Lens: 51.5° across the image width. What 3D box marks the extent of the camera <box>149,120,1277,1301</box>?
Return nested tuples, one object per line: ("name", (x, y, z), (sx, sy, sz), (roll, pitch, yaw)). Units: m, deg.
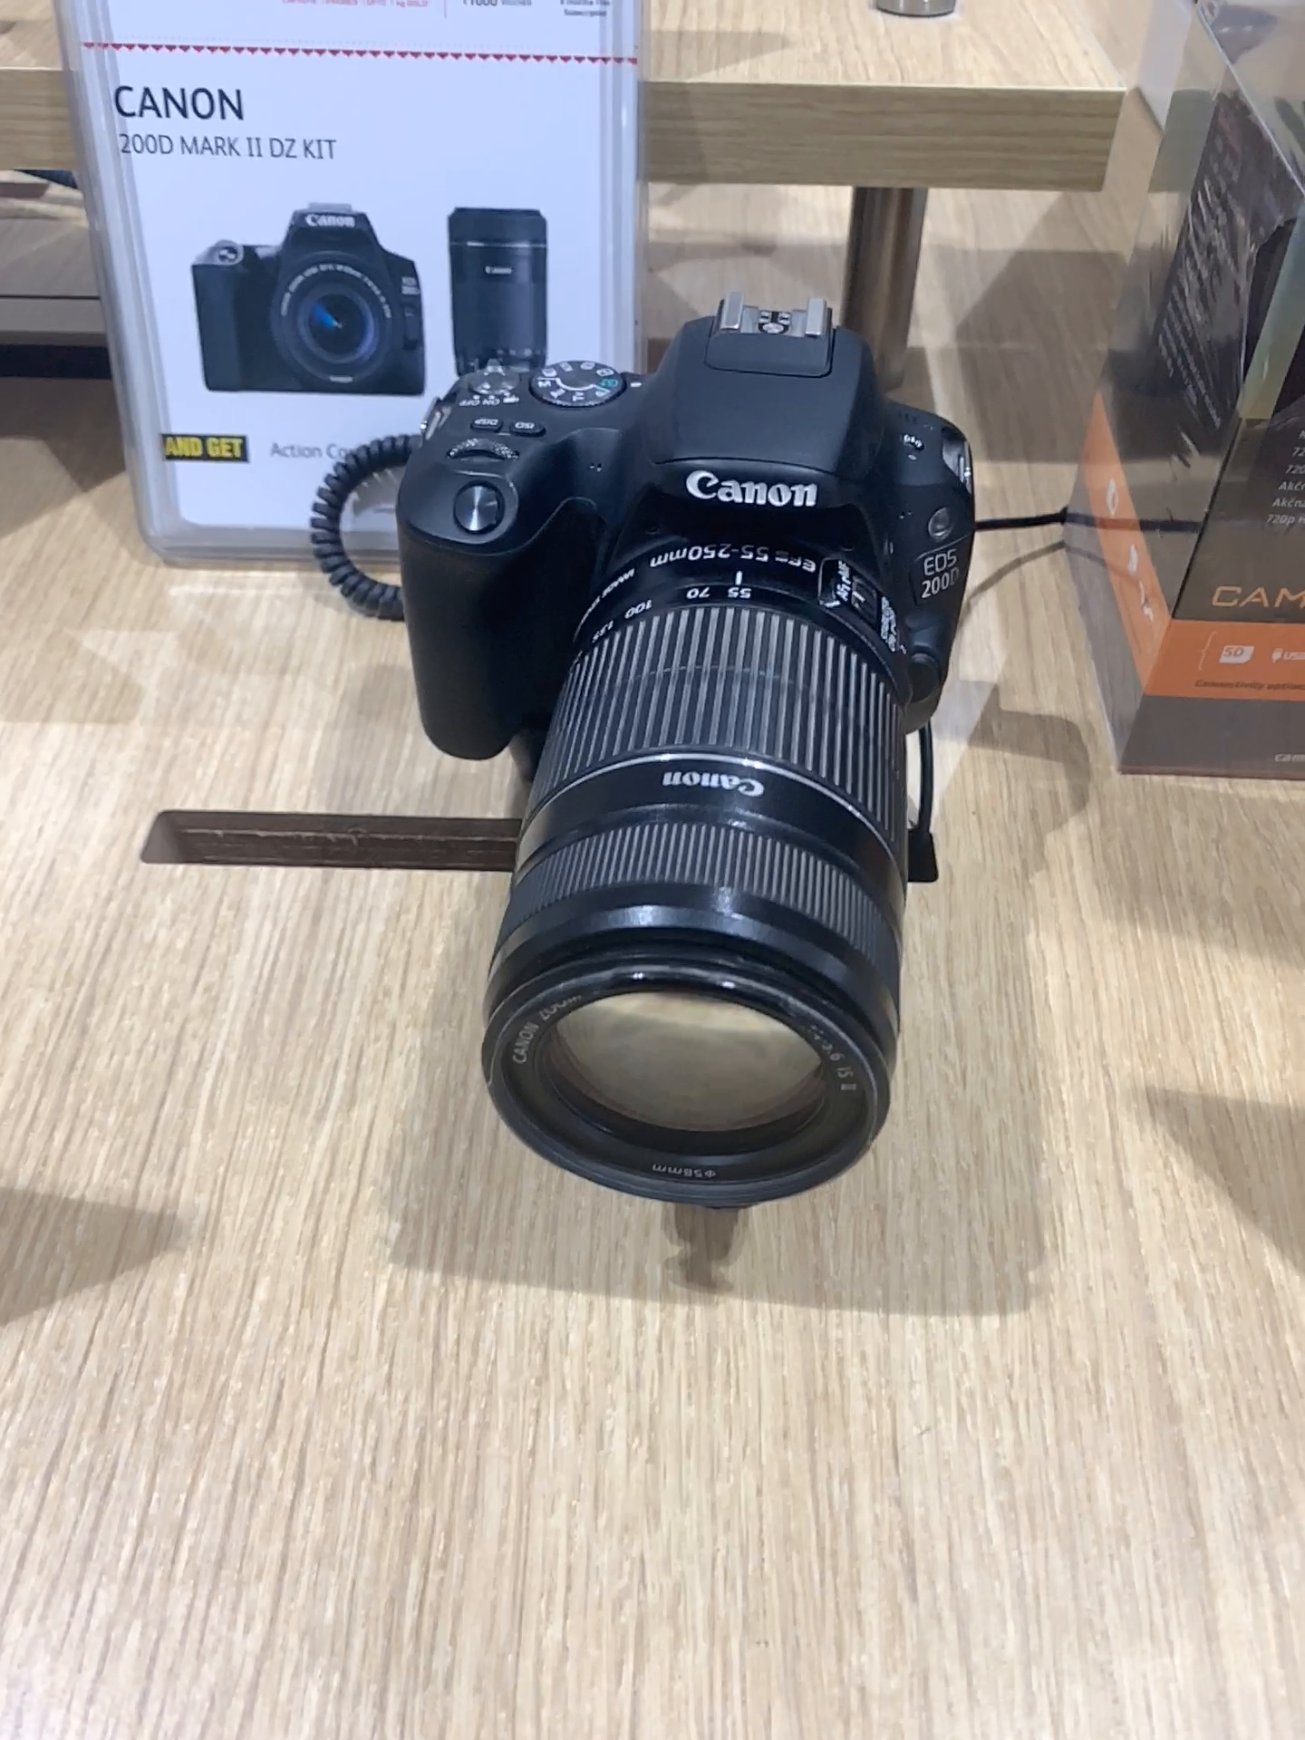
("camera", (0.015, -0.044, 0.247), (0.120, 0.100, 0.201), (4, 48, 4))
